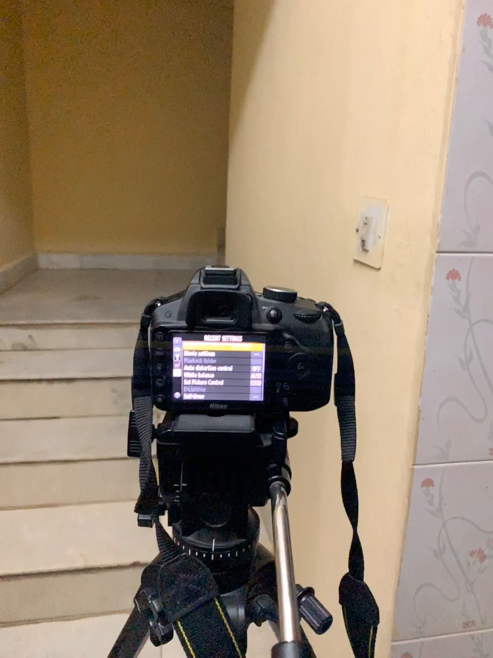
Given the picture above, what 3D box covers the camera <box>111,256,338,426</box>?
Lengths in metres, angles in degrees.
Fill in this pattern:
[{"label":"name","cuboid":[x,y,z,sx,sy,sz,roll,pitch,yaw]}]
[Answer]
[{"label":"camera","cuboid":[-0.016,0.000,0.372,0.134,0.090,0.130,2,13,-2]}]
